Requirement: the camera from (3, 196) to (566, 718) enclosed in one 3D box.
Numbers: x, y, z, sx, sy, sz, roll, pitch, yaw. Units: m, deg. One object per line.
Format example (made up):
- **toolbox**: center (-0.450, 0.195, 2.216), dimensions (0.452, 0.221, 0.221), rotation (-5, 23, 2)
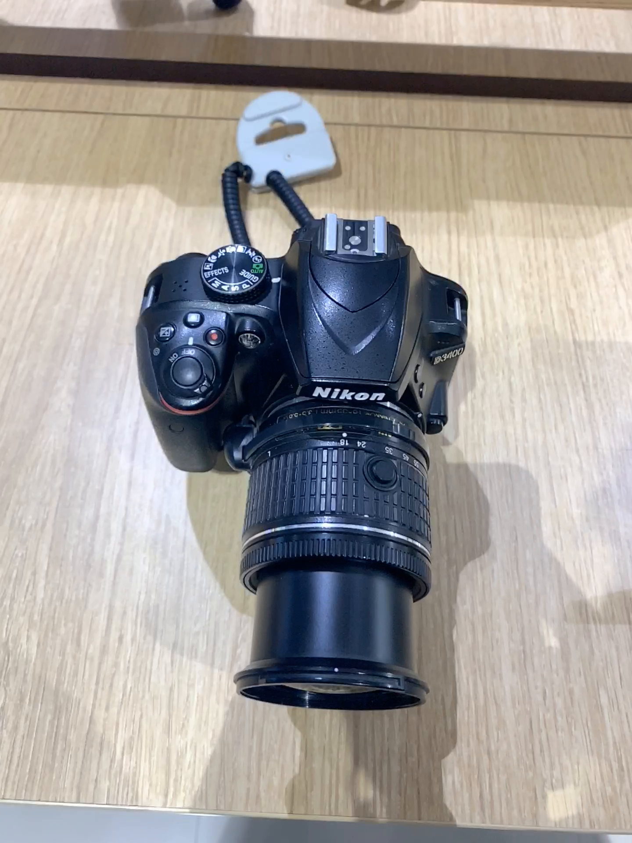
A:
- **camera**: center (-0.005, 0.014, 0.215), dimensions (0.120, 0.094, 0.140), rotation (2, 60, 0)
